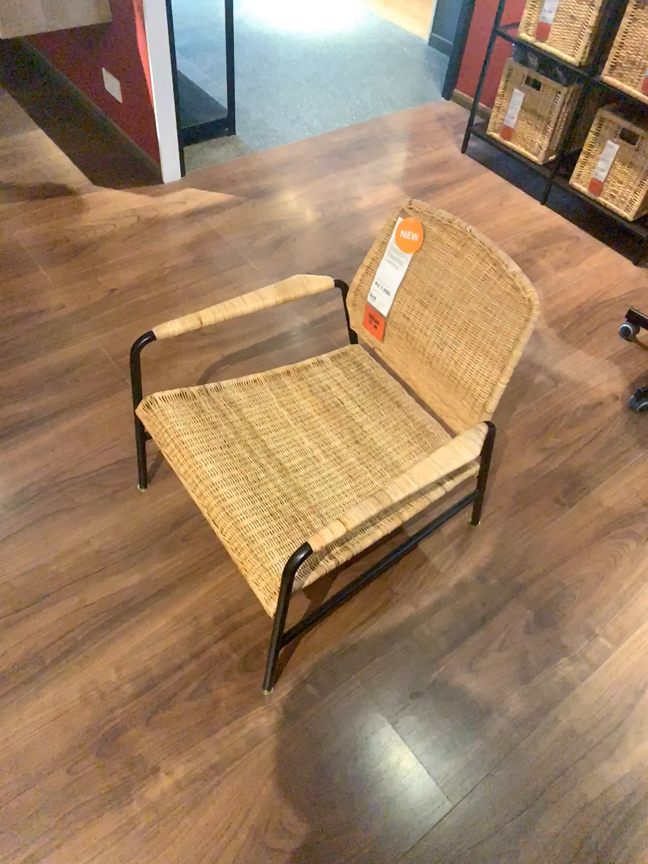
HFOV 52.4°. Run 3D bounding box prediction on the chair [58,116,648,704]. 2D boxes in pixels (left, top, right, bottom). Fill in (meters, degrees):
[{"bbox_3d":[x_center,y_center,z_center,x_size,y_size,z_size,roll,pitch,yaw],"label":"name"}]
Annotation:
[{"bbox_3d":[0.035,-0.071,1.415,0.791,0.758,0.711,-26,58,-25],"label":"chair"}]
